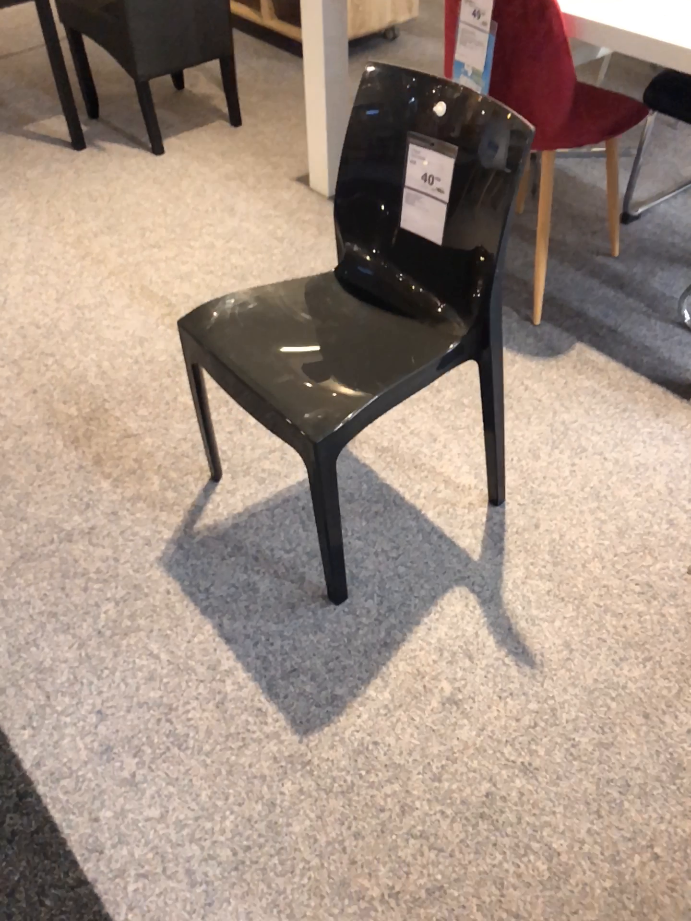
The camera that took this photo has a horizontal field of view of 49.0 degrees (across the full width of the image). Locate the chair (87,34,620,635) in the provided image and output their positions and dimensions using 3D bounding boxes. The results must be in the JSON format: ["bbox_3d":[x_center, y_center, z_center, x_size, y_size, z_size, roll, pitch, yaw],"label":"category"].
[{"bbox_3d":[0.011,-0.227,1.372,0.573,0.766,0.520,-33,54,-28],"label":"chair"}]
